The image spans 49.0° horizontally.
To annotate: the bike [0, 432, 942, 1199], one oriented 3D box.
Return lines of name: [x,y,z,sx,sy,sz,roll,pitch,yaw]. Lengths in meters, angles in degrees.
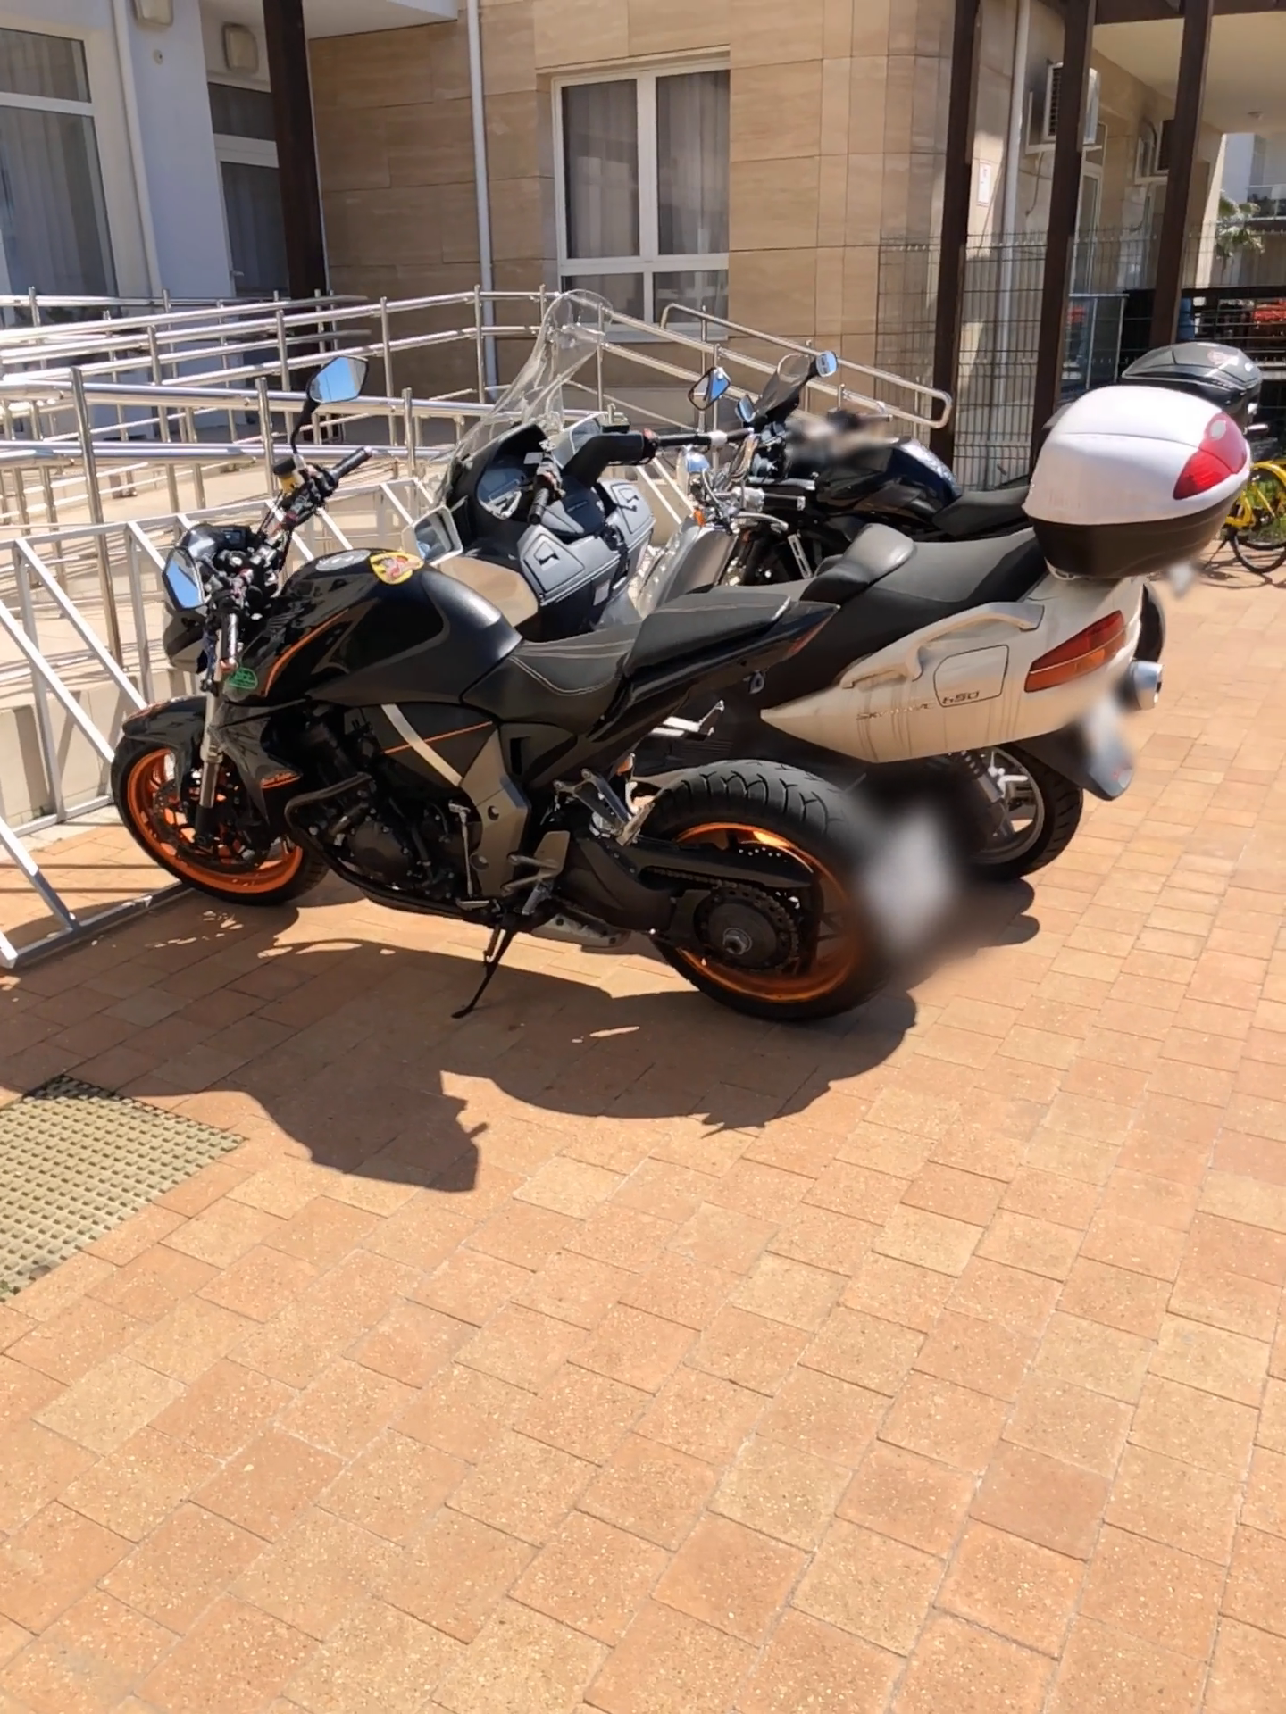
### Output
bike: [-0.437,-0.244,3.007,1.952,1.170,0.798,10,22,25]
